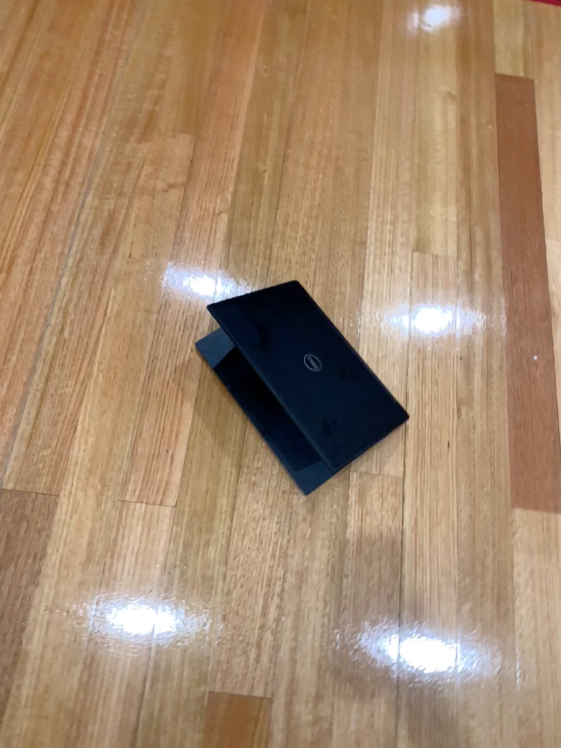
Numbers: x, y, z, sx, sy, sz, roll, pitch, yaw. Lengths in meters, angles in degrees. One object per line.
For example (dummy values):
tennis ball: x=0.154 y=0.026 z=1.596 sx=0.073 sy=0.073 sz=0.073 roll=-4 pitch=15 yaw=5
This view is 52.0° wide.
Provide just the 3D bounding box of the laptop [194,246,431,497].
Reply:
laptop: x=0.041 y=-0.007 z=0.864 sx=0.206 sy=0.110 sz=0.296 roll=-33 pitch=76 yaw=-18
